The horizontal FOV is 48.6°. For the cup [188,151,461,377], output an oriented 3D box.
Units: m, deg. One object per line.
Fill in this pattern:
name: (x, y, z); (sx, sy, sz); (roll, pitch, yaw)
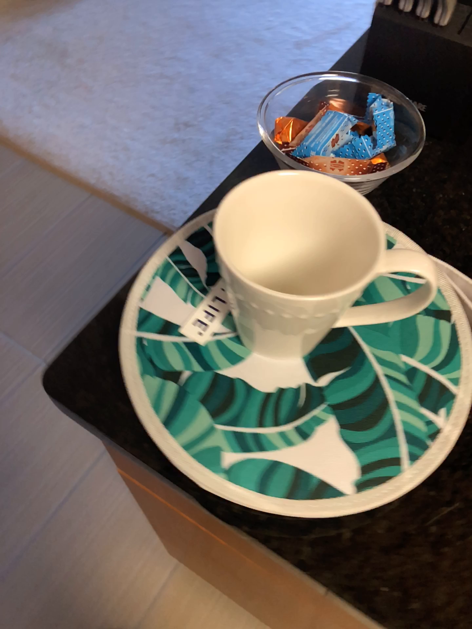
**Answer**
cup: (0.044, -0.028, 0.312); (0.130, 0.090, 0.090); (4, 57, 1)
